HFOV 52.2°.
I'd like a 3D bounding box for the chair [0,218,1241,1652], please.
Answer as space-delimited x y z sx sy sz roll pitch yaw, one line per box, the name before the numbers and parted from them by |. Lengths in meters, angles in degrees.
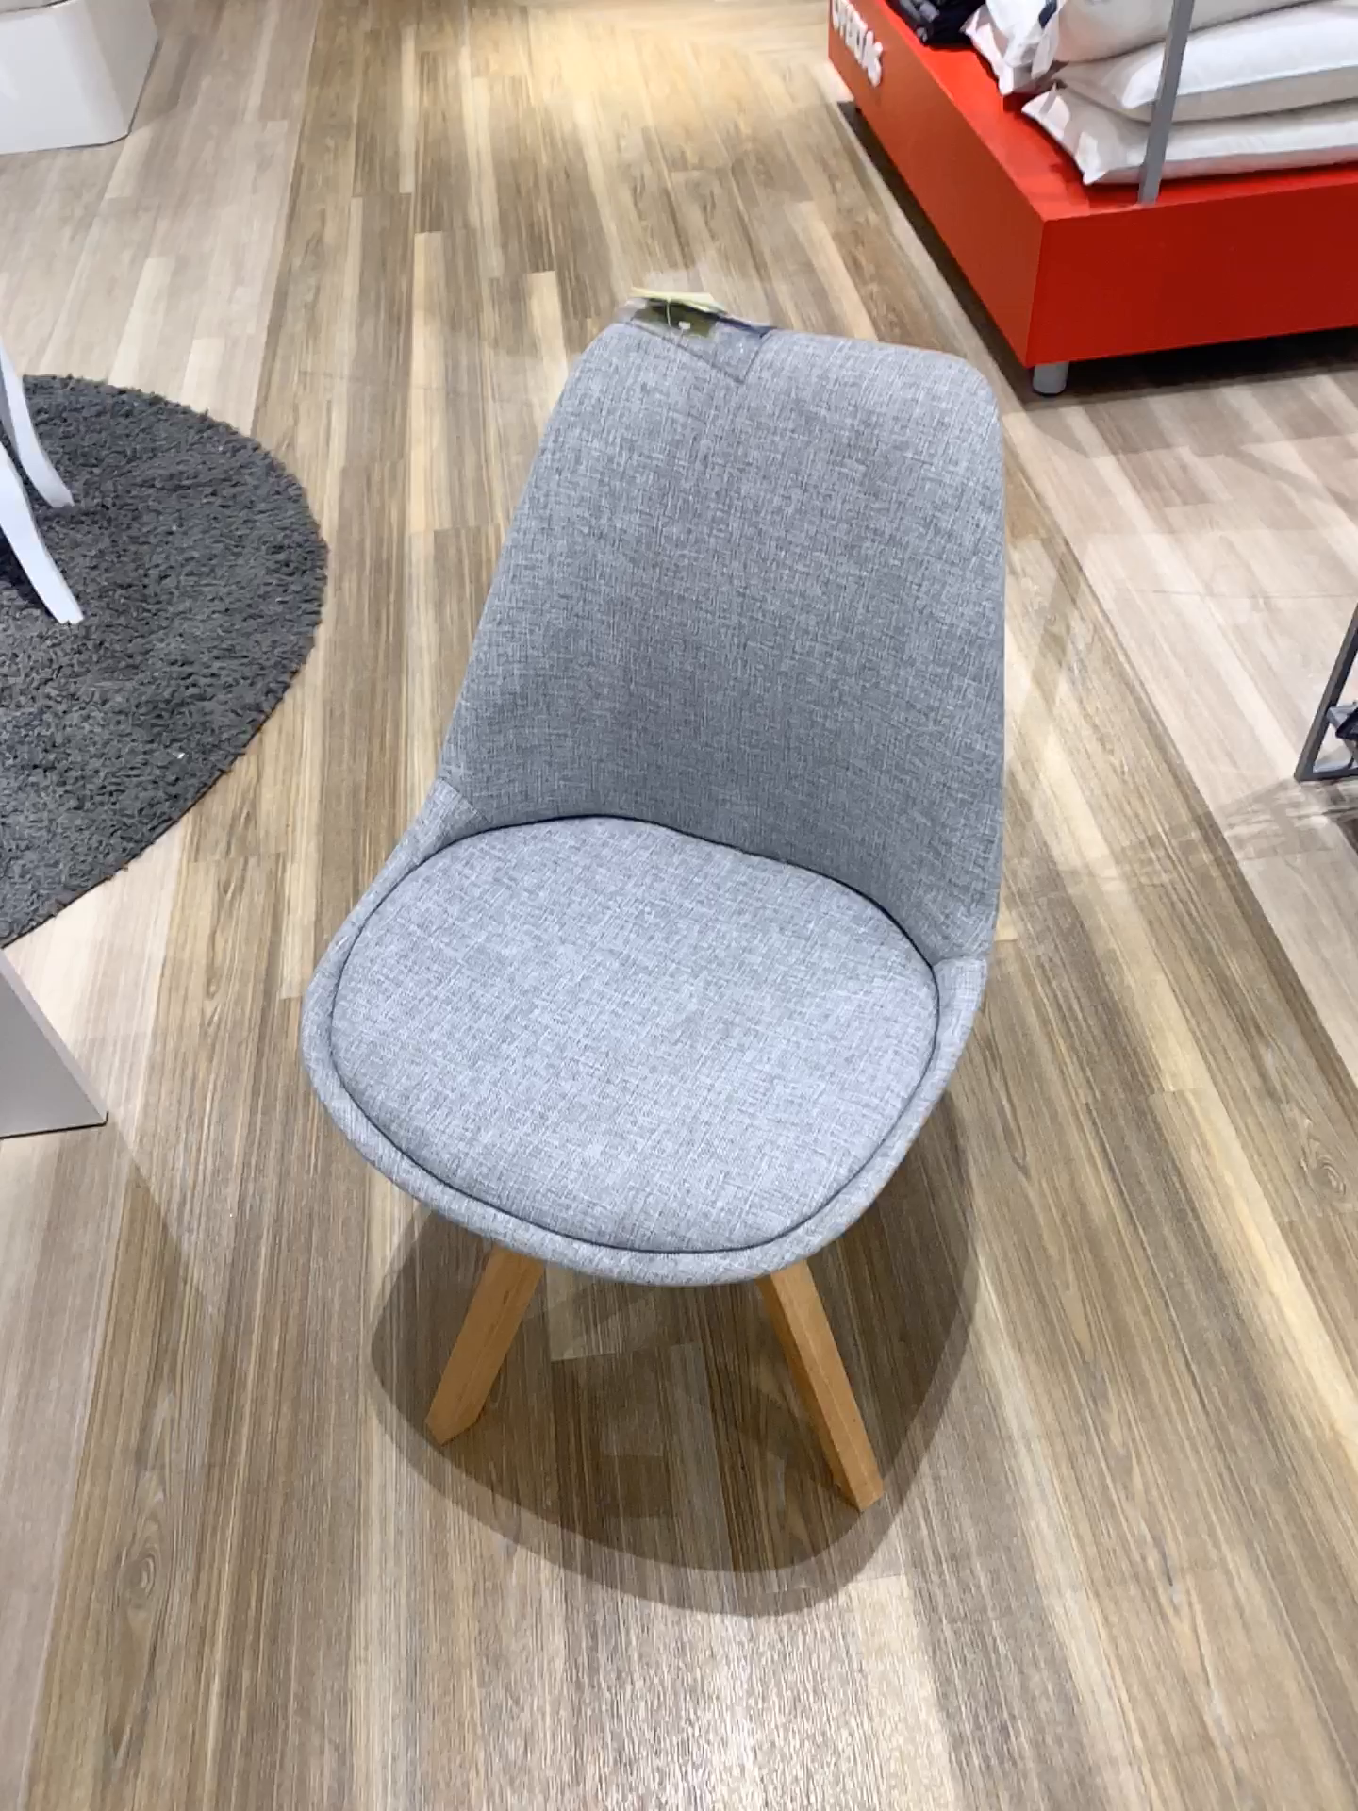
chair | 0.001 0.066 1.032 0.514 0.856 0.517 17 52 19
